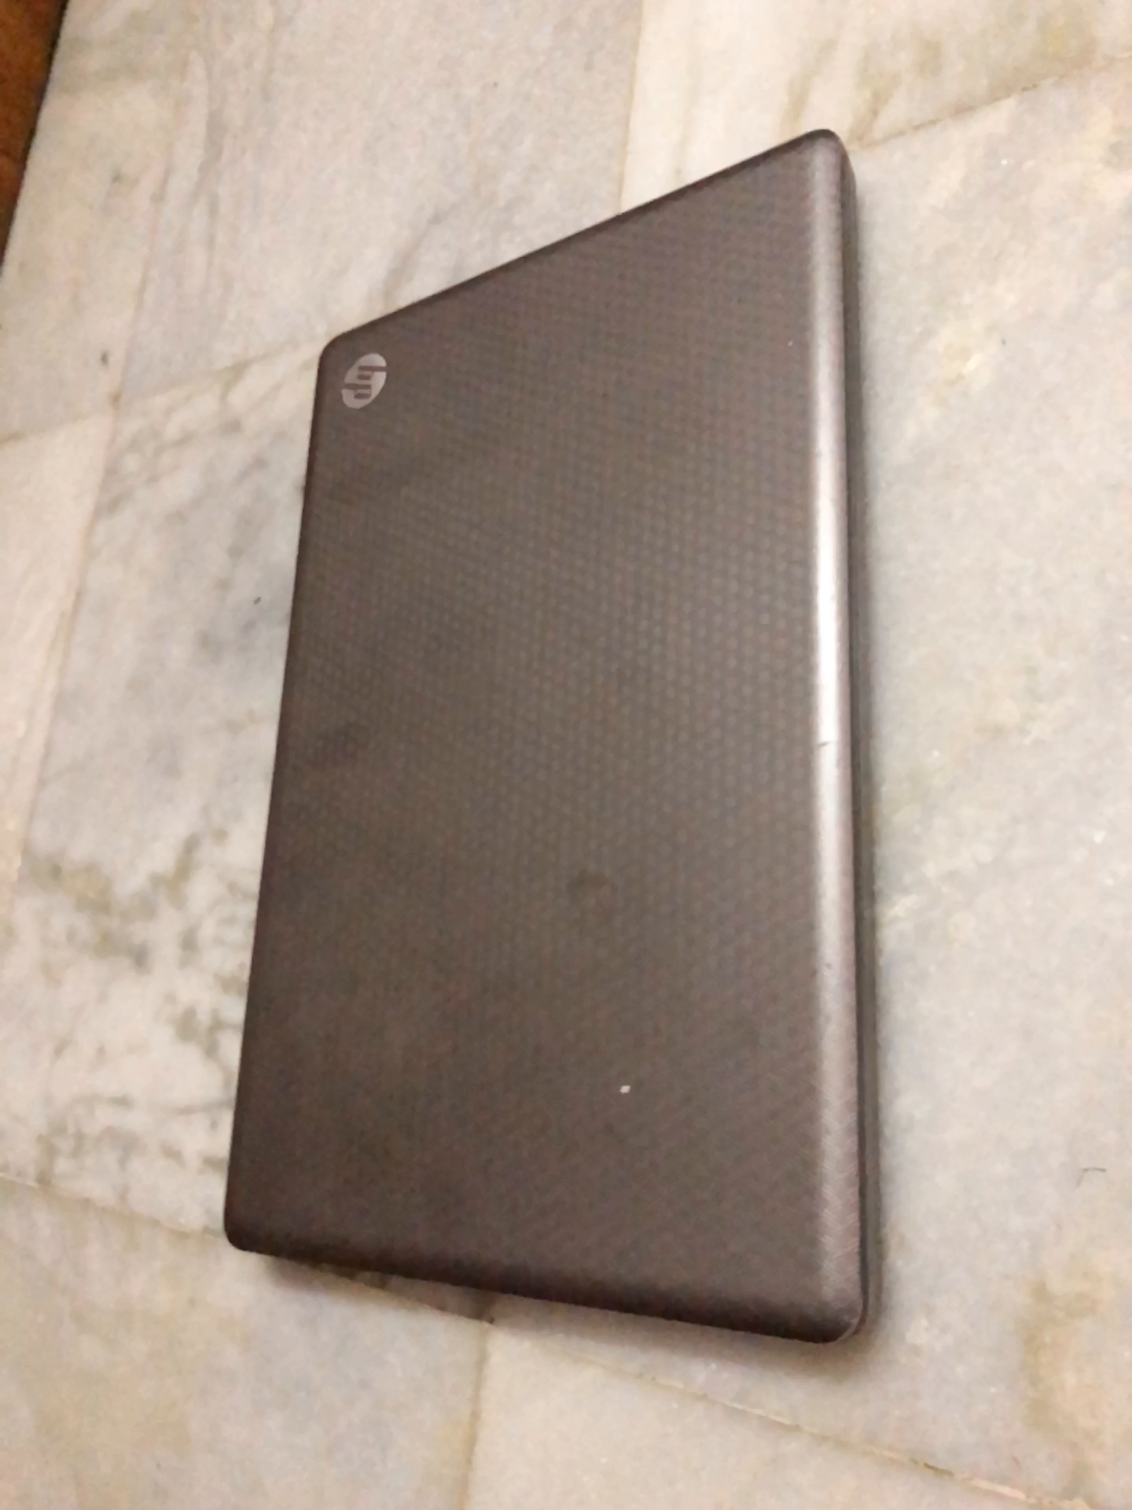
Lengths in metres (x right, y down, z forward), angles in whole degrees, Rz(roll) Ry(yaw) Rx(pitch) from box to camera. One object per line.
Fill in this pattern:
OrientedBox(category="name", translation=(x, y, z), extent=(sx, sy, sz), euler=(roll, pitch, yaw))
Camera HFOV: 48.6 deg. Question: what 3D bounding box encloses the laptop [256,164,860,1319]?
OrientedBox(category="laptop", translation=(-0.011, -0.012, 0.468), extent=(0.249, 0.002, 0.378), euler=(-8, 72, 35))
